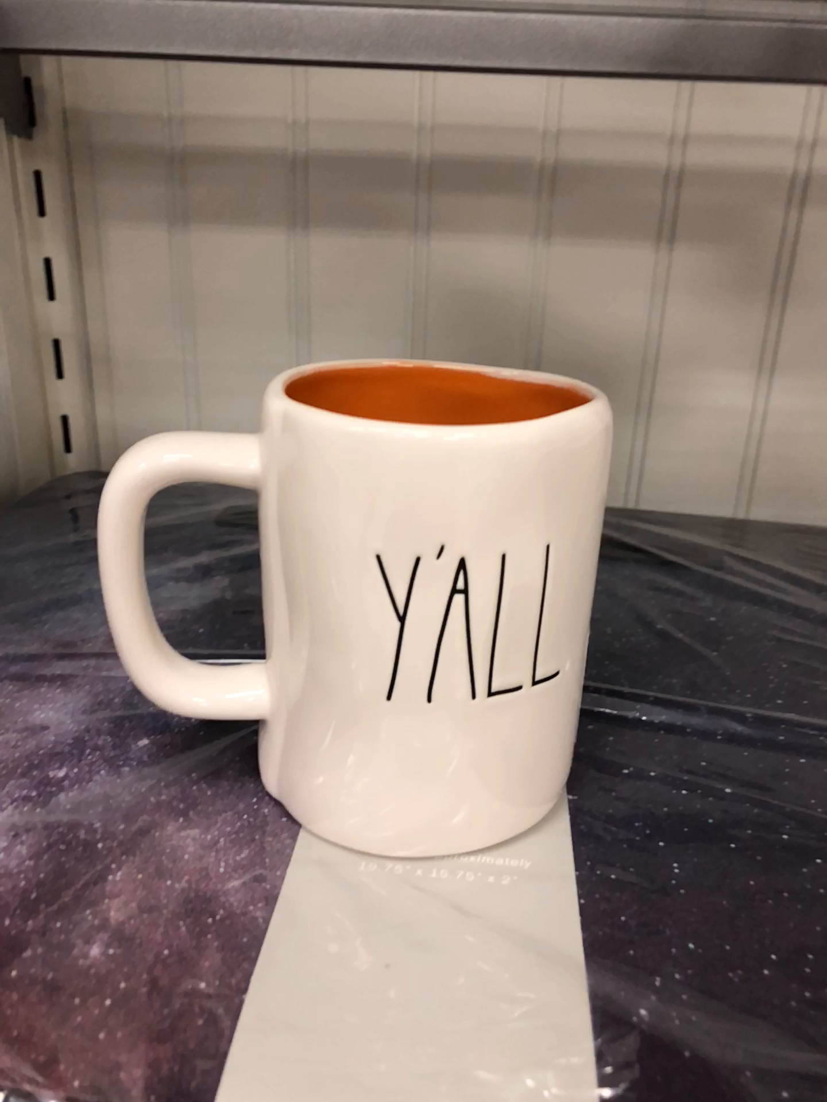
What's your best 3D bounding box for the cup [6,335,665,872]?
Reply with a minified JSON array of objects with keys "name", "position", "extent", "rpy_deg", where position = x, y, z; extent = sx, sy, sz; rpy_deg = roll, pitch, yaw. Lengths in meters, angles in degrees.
[{"name":"cup","position":[-0.020,0.009,0.260],"extent":[0.140,0.119,0.091],"rpy_deg":[0,23,-6]}]
